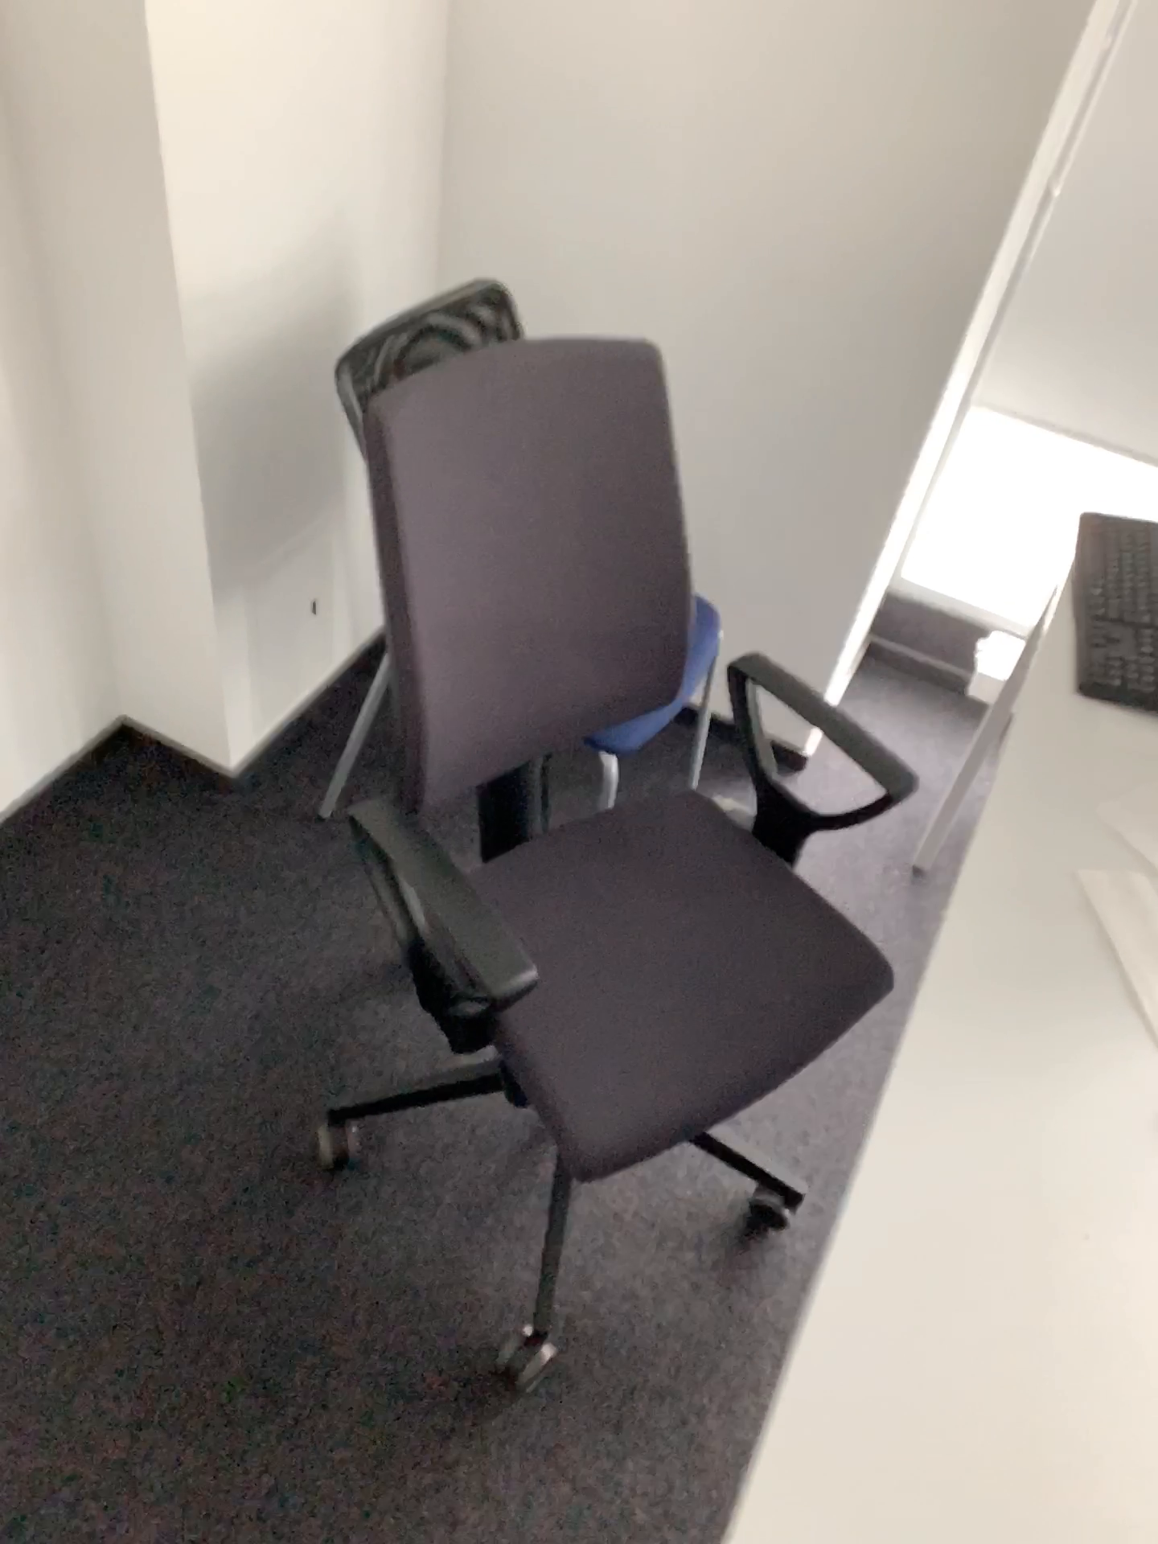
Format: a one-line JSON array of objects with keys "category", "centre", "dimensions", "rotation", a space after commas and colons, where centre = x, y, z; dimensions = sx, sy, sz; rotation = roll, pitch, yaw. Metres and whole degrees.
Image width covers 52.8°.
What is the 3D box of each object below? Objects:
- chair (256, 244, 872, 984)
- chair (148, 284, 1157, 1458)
[{"category": "chair", "centre": [-0.039, -0.265, 1.901], "dimensions": [0.610, 0.806, 0.673], "rotation": [27, 46, 15]}, {"category": "chair", "centre": [0.037, 0.117, 1.367], "dimensions": [0.692, 1.005, 0.681], "rotation": [-25, 55, -31]}]
